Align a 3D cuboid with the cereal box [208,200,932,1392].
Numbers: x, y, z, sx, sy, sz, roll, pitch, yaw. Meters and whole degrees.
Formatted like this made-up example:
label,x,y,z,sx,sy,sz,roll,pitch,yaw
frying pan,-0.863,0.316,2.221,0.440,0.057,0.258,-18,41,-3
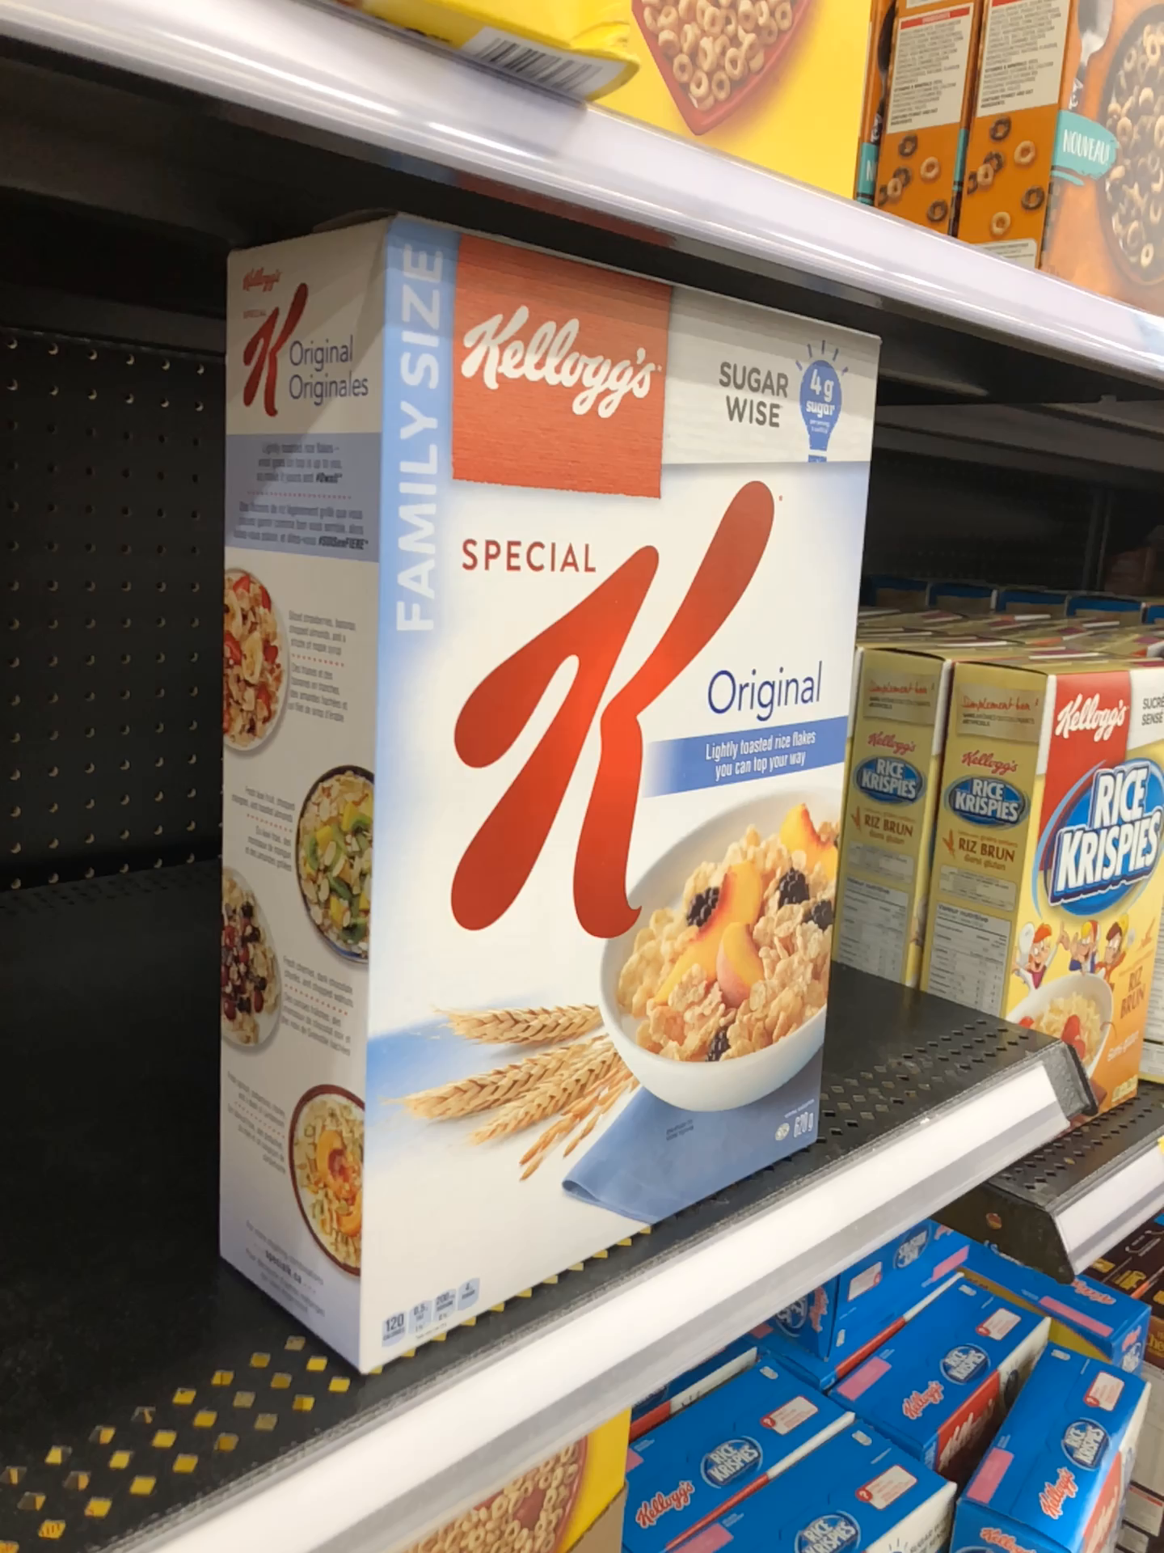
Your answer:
label,x,y,z,sx,sy,sz,roll,pitch,yaw
cereal box,0.005,-0.001,0.466,0.080,0.329,0.261,14,15,43
